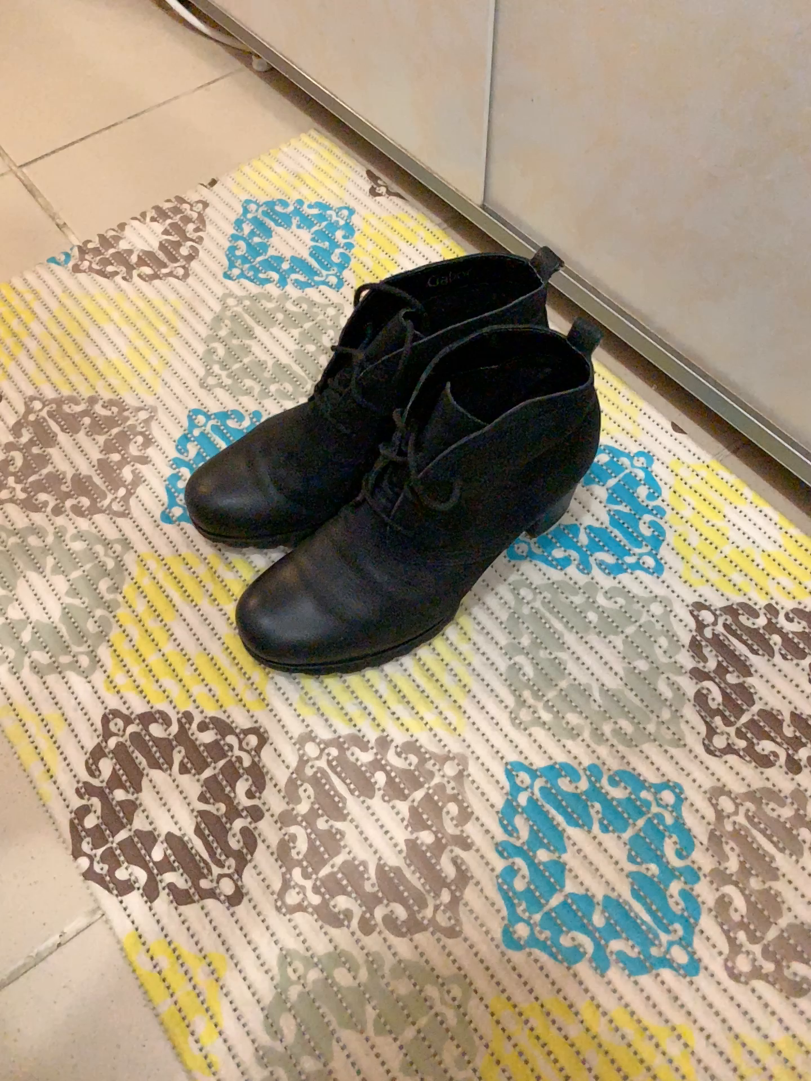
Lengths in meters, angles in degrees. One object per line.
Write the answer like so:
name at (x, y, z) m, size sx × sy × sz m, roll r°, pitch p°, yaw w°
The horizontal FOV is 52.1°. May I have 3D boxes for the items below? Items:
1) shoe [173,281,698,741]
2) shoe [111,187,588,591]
shoe at (0.018, -0.011, 0.448) m, size 0.230 × 0.150 × 0.090 m, roll -29°, pitch 64°, yaw -14°
shoe at (-0.027, -0.085, 0.494) m, size 0.230 × 0.150 × 0.090 m, roll -23°, pitch 62°, yaw -11°
